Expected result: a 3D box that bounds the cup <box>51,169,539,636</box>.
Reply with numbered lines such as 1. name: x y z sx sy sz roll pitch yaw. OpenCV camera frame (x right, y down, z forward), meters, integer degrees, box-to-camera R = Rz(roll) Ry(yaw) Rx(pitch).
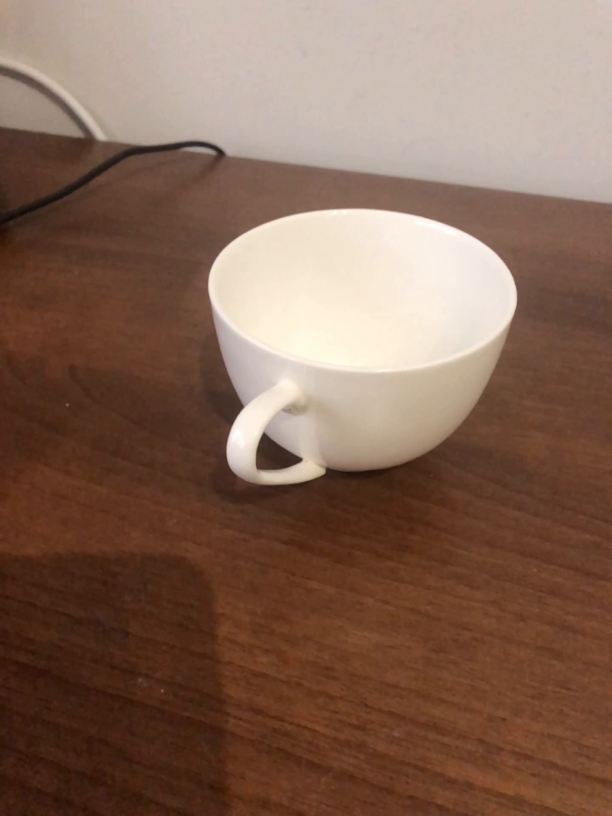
1. cup: 0.004 -0.013 0.210 0.090 0.069 0.111 20 43 23
